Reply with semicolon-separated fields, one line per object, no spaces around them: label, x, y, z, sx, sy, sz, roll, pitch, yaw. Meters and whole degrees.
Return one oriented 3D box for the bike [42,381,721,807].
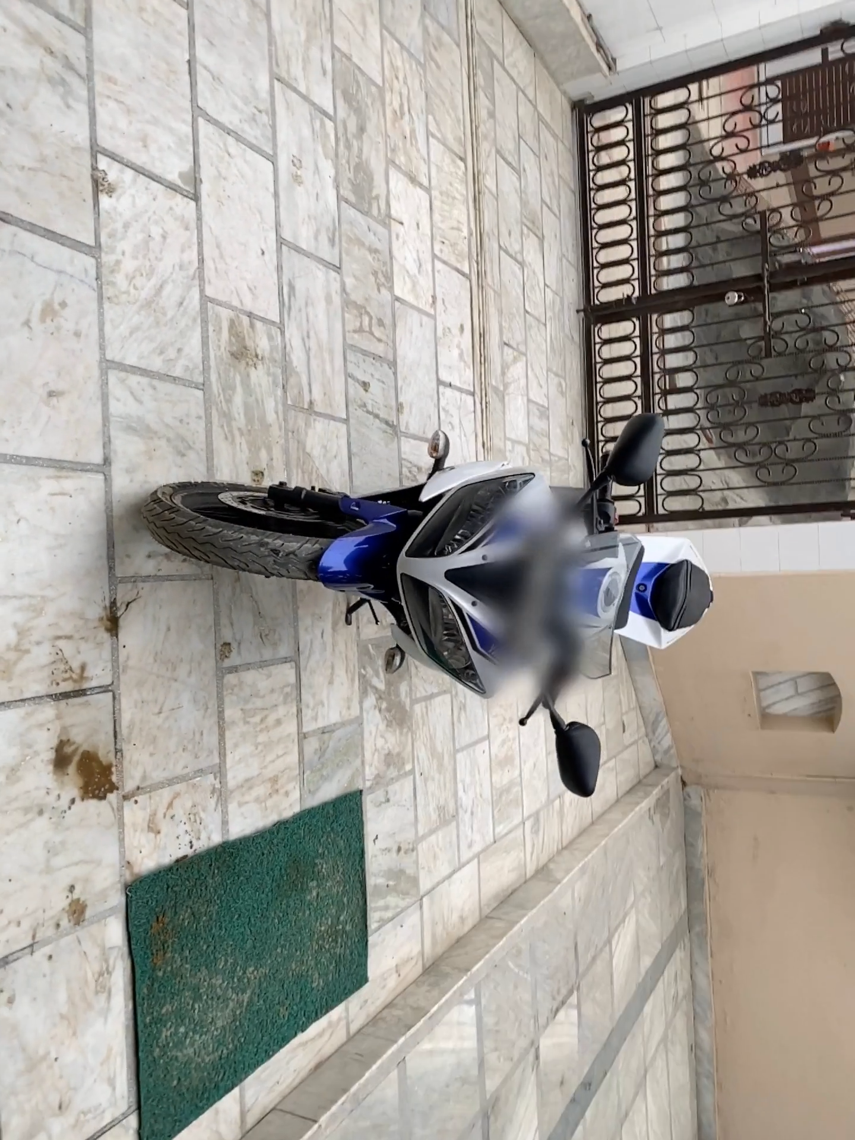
bike;0.086;0.081;2.483;1.894;0.902;0.733;3;86;-57
